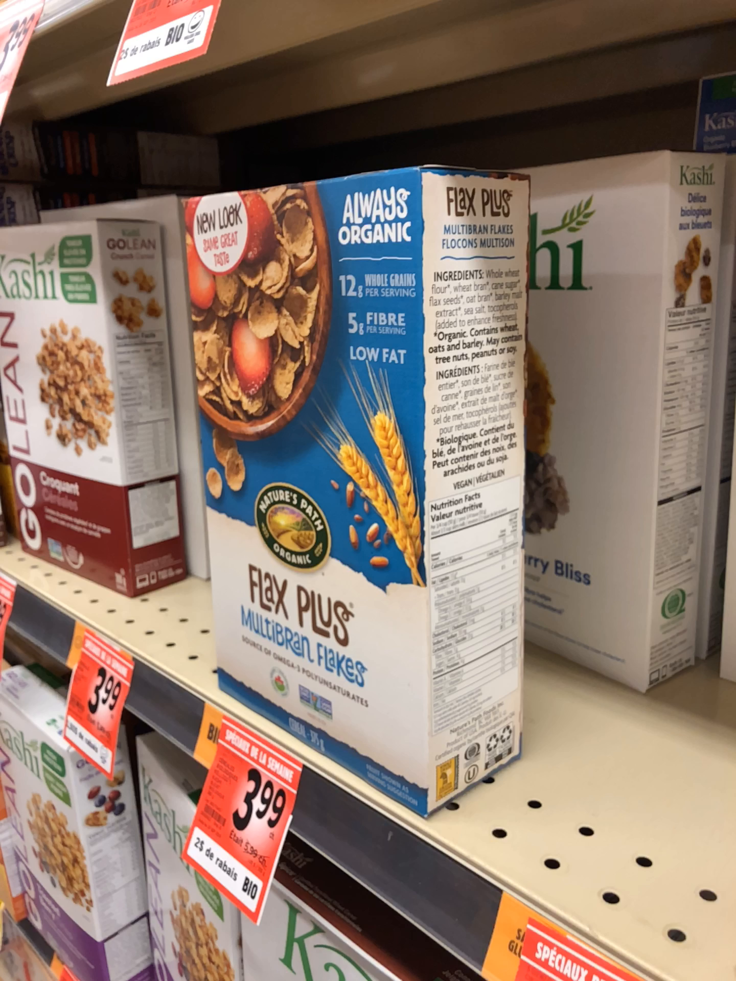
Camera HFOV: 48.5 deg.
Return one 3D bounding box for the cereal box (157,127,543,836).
[{"bbox_3d":[-0.011,-0.011,0.383,0.070,0.269,0.171,-16,21,-39],"label":"cereal box"}]
